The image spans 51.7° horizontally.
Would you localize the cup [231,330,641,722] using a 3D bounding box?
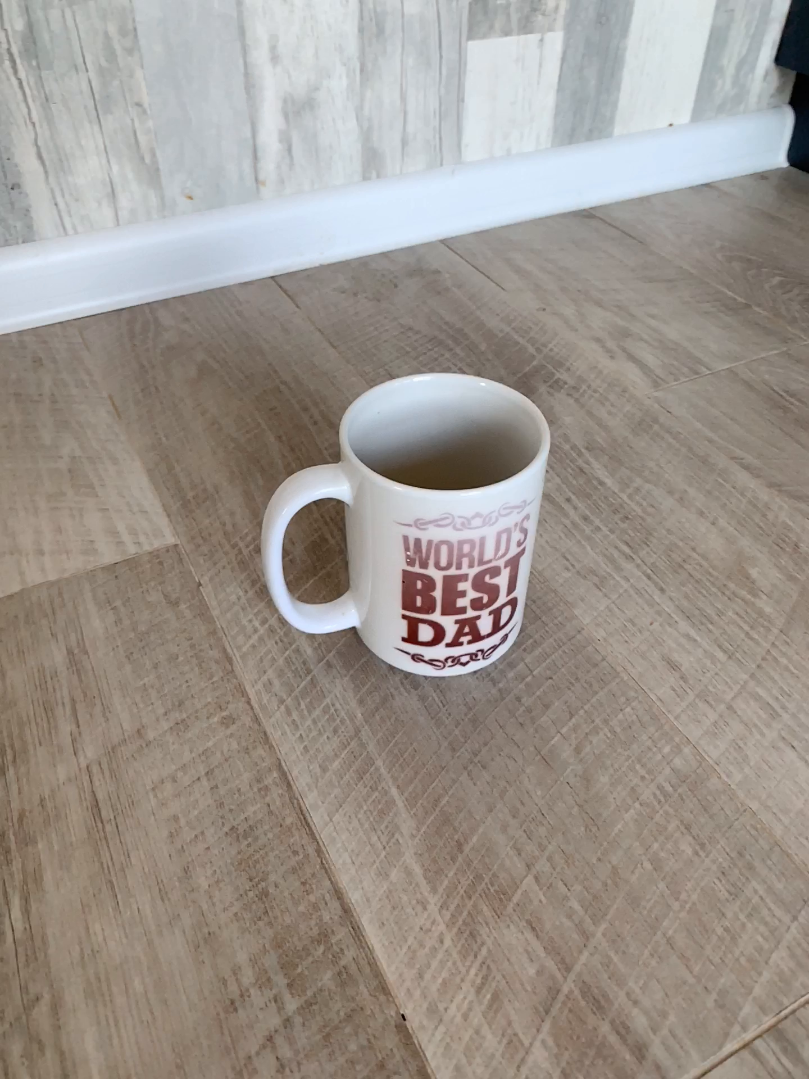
[{"bbox_3d":[0.008,-0.007,0.343,0.130,0.109,0.080,-13,44,-15],"label":"cup"}]
